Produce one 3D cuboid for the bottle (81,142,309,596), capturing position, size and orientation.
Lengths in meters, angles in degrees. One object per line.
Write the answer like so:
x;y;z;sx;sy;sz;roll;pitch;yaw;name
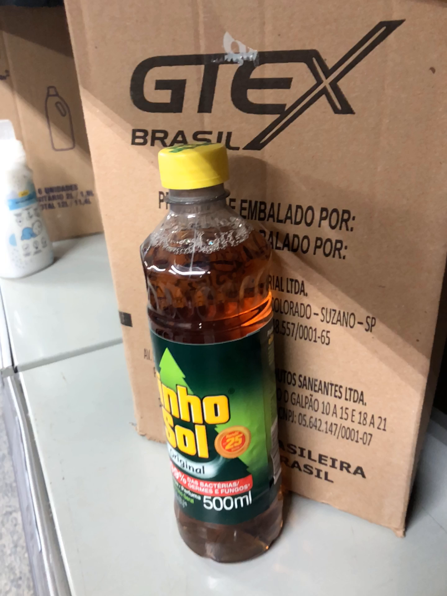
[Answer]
-0.003;0.041;0.250;0.070;0.218;0.060;13;31;32;bottle
